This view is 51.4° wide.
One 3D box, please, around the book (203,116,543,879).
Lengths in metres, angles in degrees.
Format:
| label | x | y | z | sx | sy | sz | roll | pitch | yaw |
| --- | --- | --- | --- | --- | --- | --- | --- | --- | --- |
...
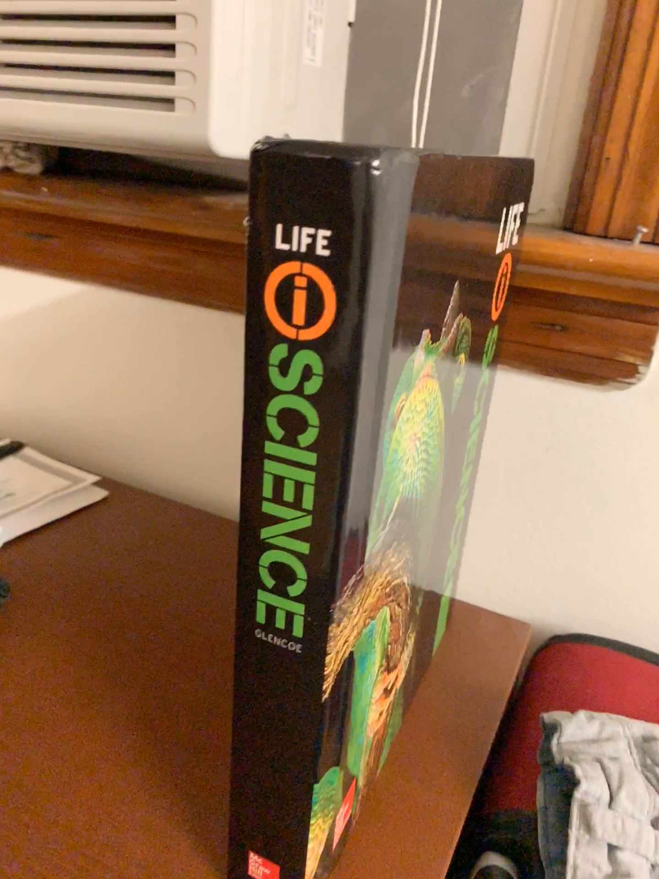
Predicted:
| label | x | y | z | sx | sy | sz | roll | pitch | yaw |
| --- | --- | --- | --- | --- | --- | --- | --- | --- | --- |
| book | 0.029 | 0.019 | 0.315 | 0.051 | 0.286 | 0.228 | 14 | 24 | 20 |
